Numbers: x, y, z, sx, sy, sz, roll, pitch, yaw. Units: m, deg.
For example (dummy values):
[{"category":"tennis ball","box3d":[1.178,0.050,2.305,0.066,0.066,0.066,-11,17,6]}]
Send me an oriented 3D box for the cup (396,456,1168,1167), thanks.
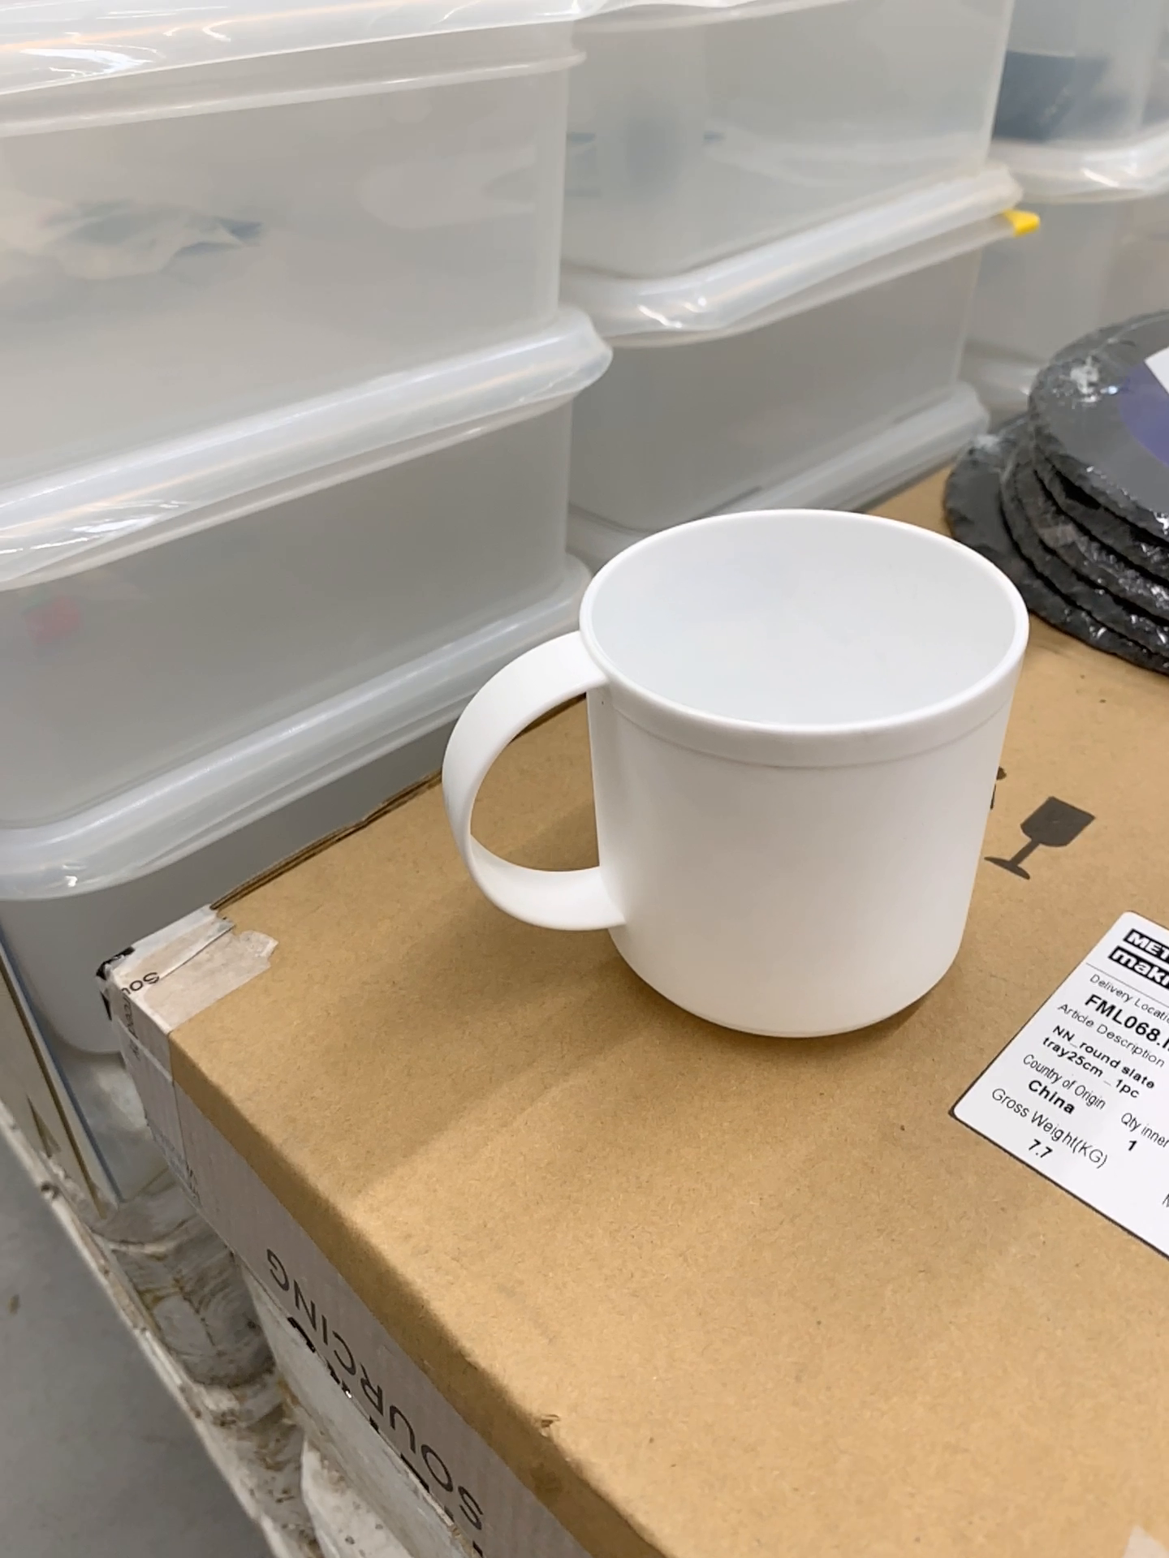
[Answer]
[{"category":"cup","box3d":[0.034,0.000,0.224,0.113,0.075,0.080,-13,38,-13]}]
